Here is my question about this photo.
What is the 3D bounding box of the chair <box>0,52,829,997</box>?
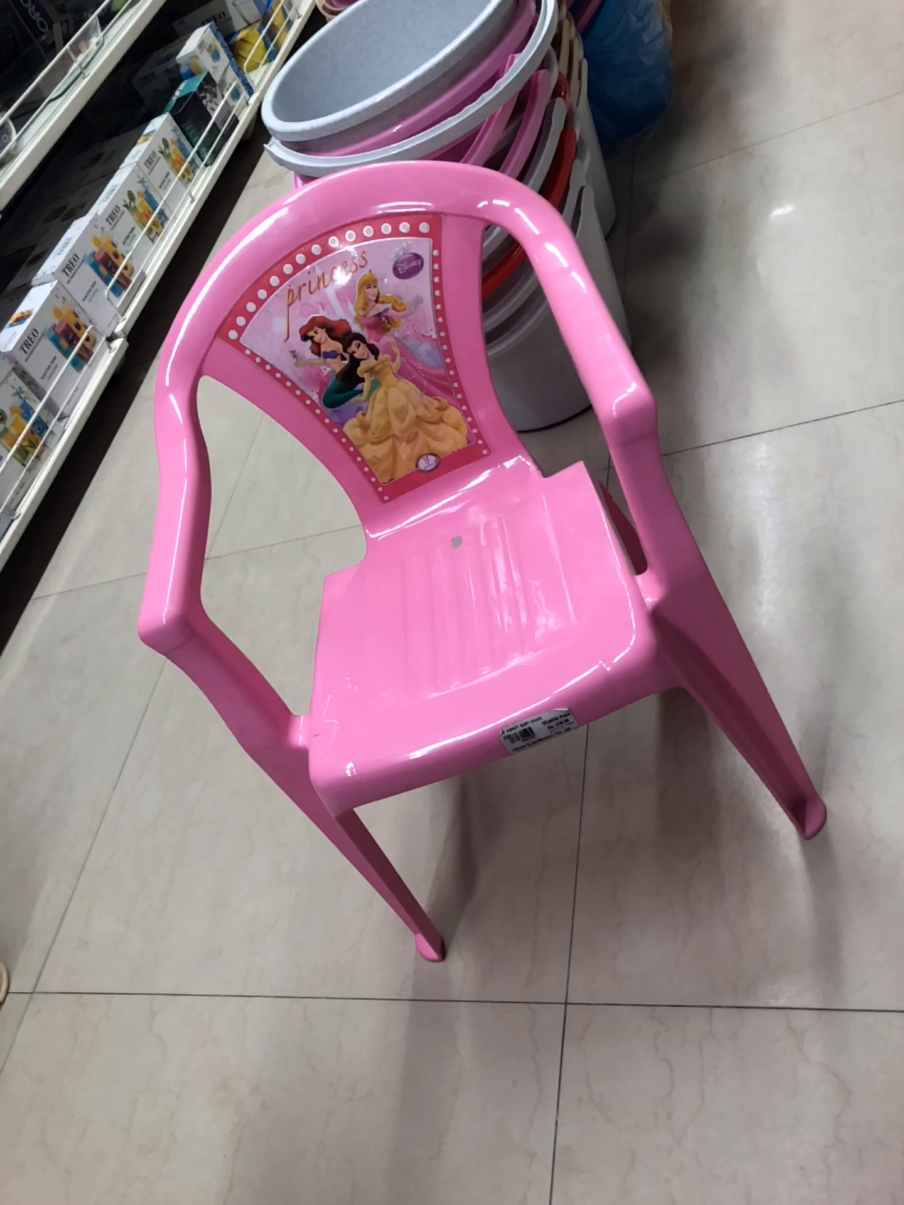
[{"bbox_3d":[-0.024,-0.022,0.725,0.370,0.477,0.352,-25,43,13],"label":"chair"}]
